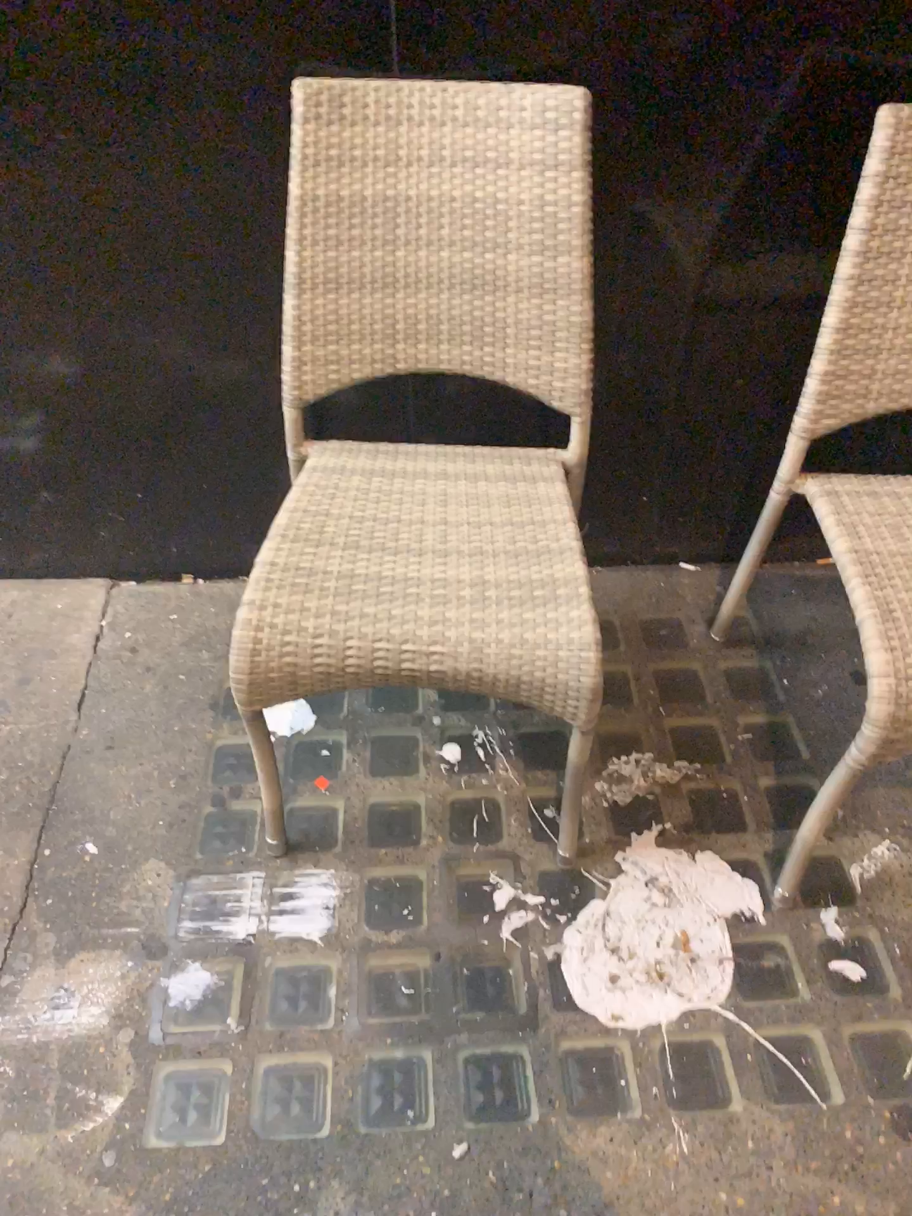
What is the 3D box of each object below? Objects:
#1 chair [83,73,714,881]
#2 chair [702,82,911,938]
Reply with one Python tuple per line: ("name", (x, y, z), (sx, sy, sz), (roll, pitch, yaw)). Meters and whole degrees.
("chair", (-0.029, -0.148, 1.212), (0.480, 0.832, 0.616), (2, 44, 2))
("chair", (0.727, -0.128, 1.207), (0.580, 0.901, 0.606), (3, 36, 4))
